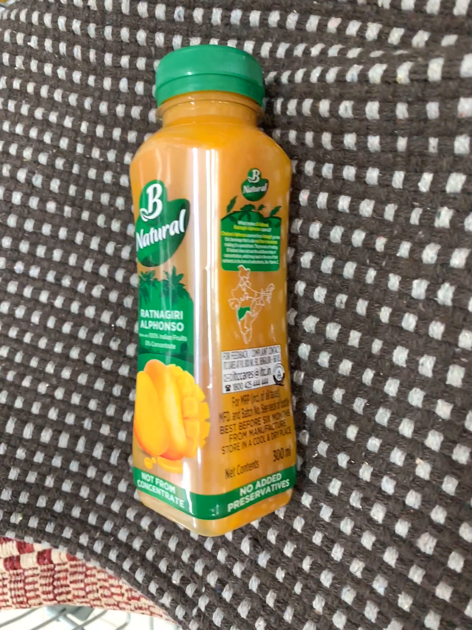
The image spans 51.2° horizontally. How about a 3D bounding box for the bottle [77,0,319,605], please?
[{"bbox_3d":[-0.012,-0.004,0.166,0.060,0.050,0.160,5,98,43],"label":"bottle"}]
